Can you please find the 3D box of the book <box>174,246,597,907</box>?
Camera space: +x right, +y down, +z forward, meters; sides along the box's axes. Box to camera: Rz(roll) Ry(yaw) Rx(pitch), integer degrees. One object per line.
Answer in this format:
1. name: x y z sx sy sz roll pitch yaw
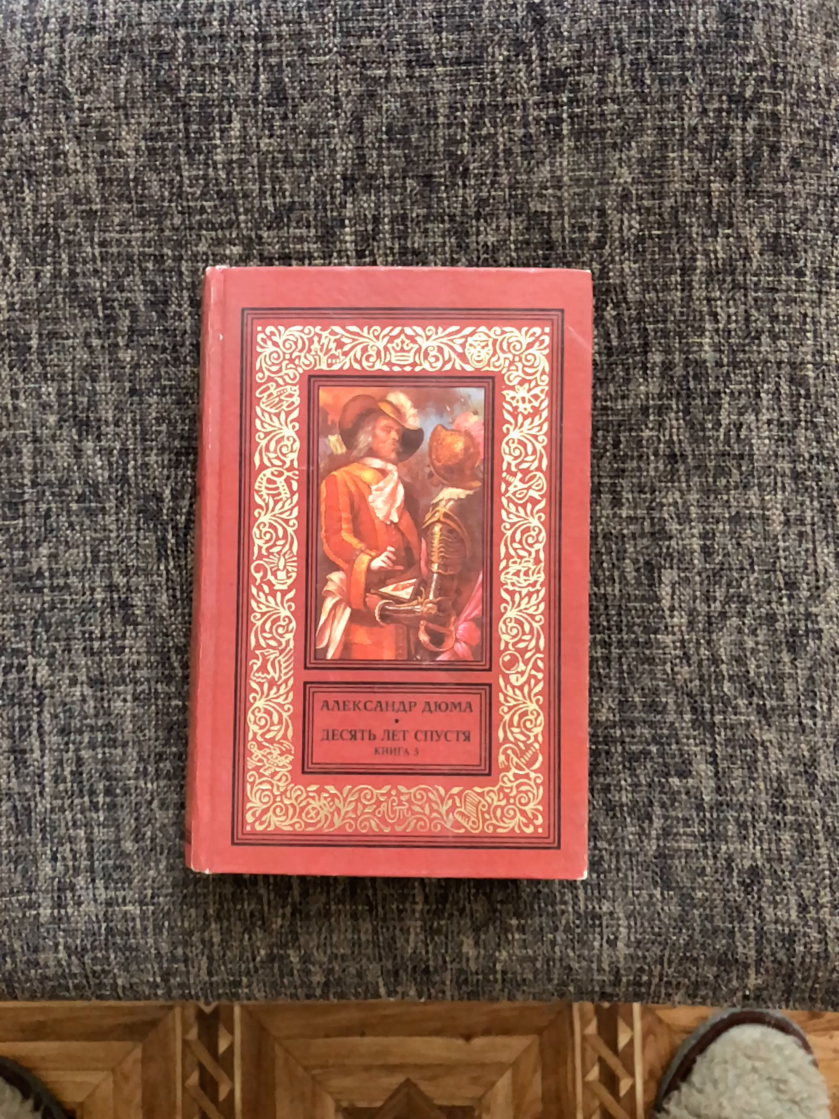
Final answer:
1. book: -0.010 0.004 0.312 0.131 0.038 0.206 0 88 2
